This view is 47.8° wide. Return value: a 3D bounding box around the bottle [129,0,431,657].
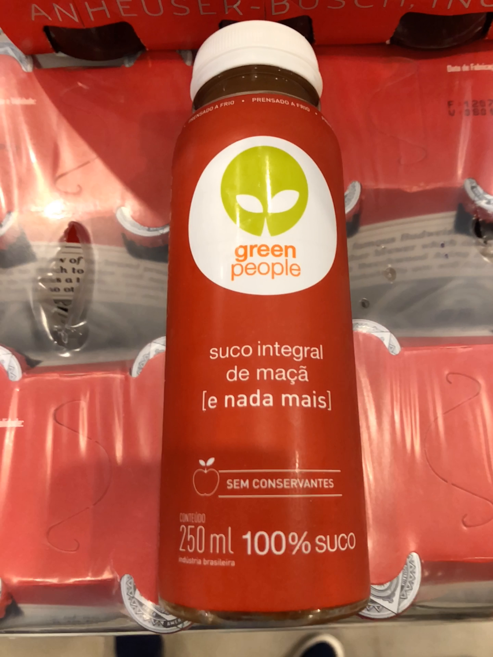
[{"bbox_3d":[0.008,-0.017,0.153,0.060,0.040,0.180,-1,75,4],"label":"bottle"}]
